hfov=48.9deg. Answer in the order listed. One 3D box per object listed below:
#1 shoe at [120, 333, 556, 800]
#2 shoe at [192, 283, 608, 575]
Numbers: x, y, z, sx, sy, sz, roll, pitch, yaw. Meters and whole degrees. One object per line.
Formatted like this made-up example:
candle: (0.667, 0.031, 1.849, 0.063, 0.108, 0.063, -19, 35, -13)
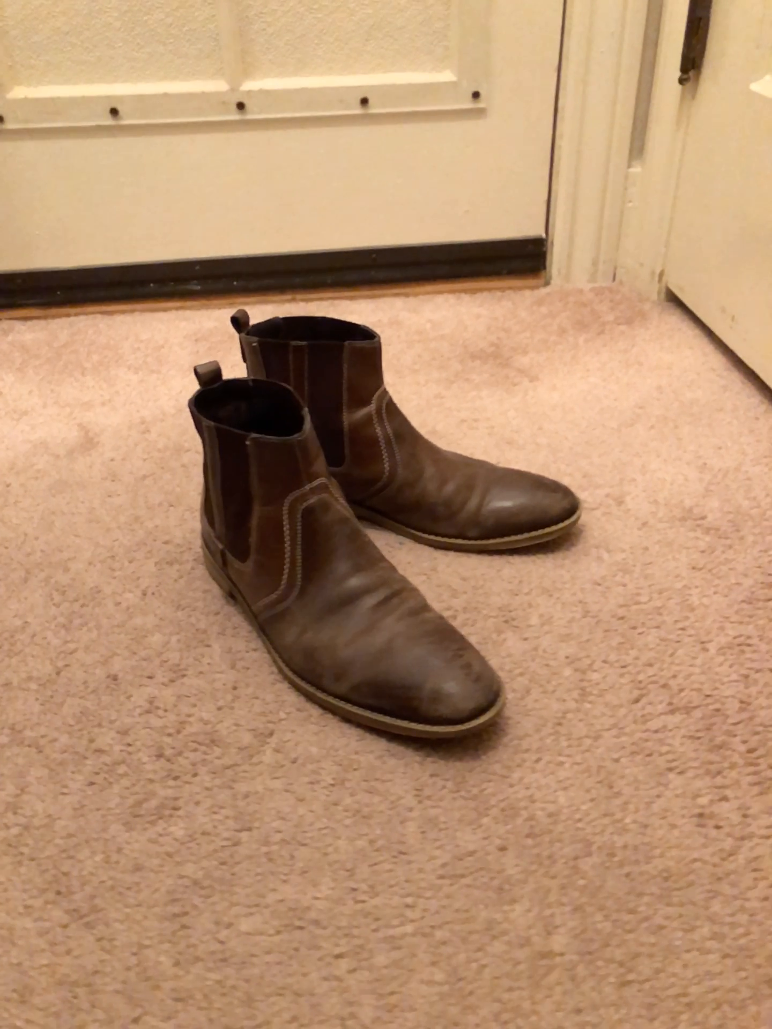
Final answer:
shoe: (-0.045, 0.012, 0.571, 0.119, 0.158, 0.299, -25, 41, -30)
shoe: (0.013, -0.079, 0.699, 0.298, 0.158, 0.119, 11, 37, 18)
